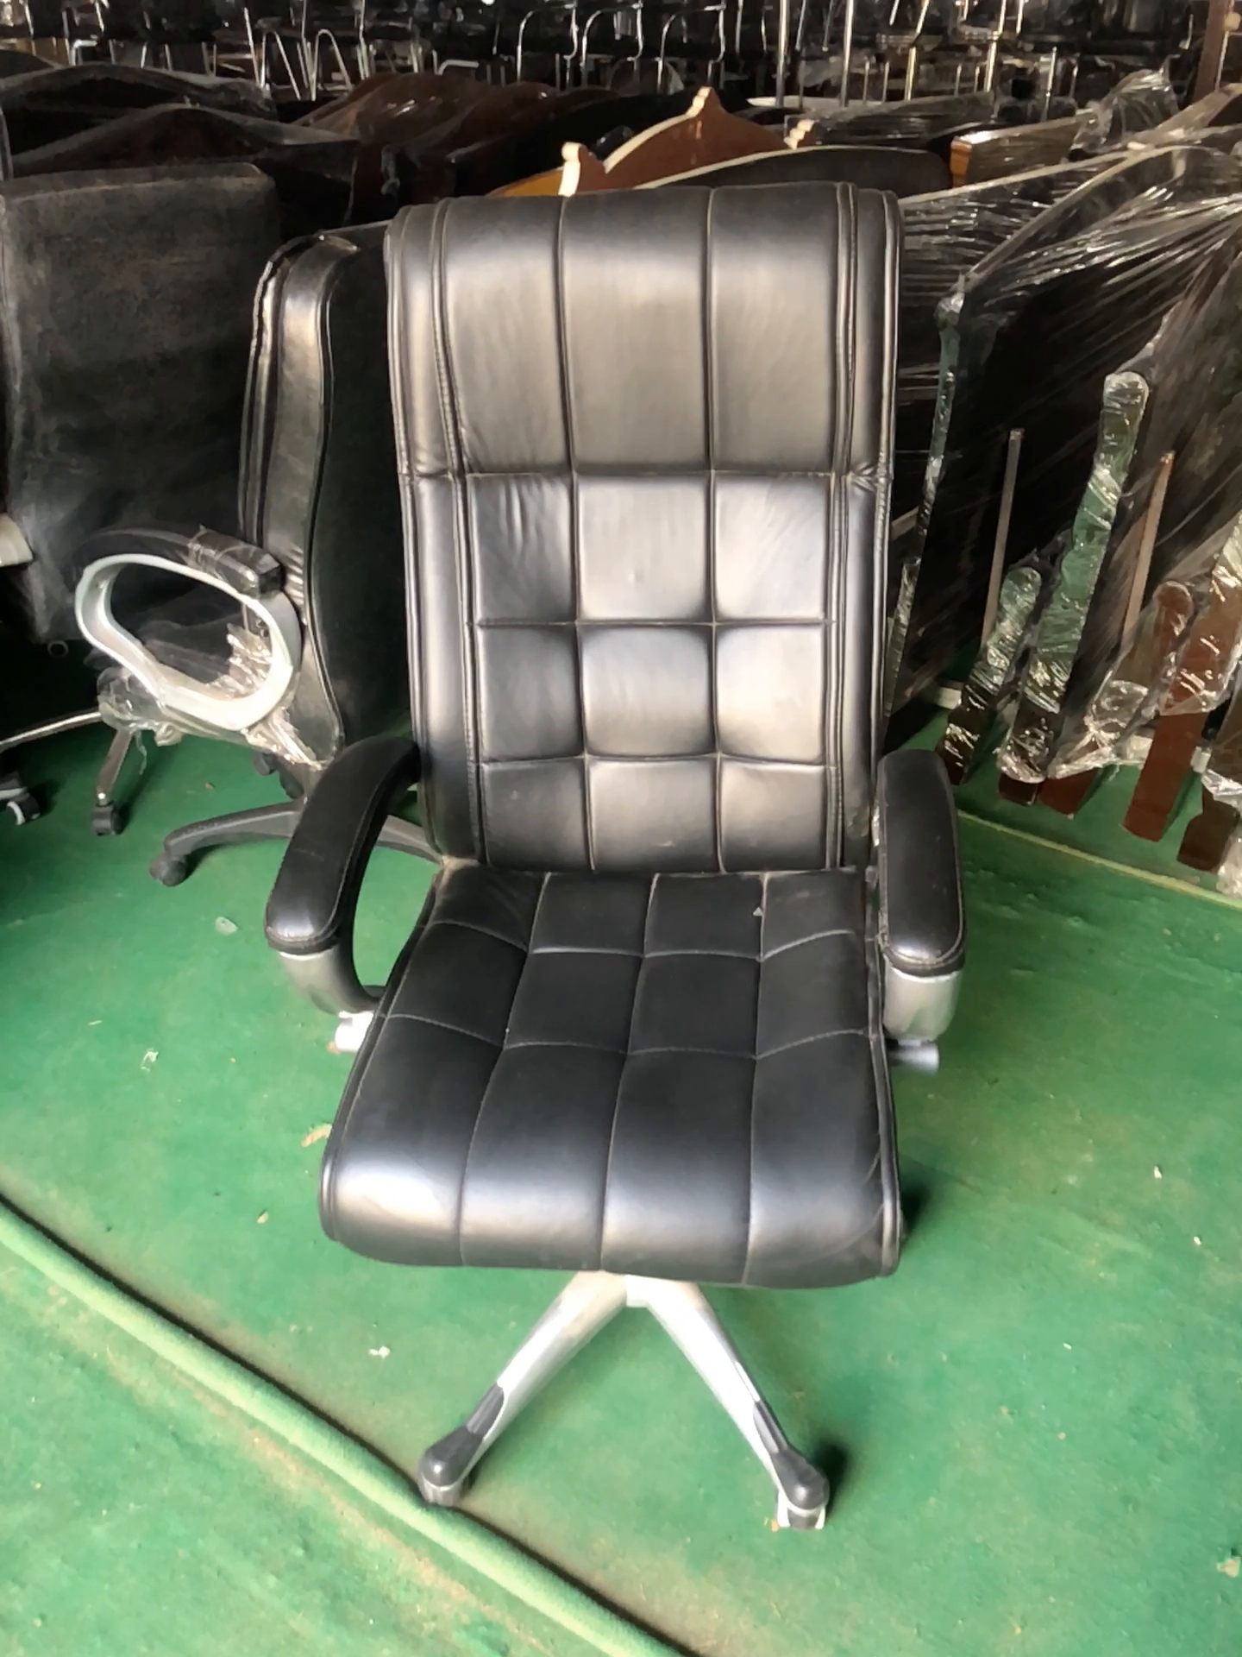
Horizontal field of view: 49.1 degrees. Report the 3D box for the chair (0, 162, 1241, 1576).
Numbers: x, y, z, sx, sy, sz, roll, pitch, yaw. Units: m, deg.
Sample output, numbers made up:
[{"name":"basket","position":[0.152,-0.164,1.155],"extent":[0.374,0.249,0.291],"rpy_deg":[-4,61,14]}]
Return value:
[{"name":"chair","position":[0.005,0.009,1.453],"extent":[0.810,1.224,0.834],"rpy_deg":[2,30,2]}]
